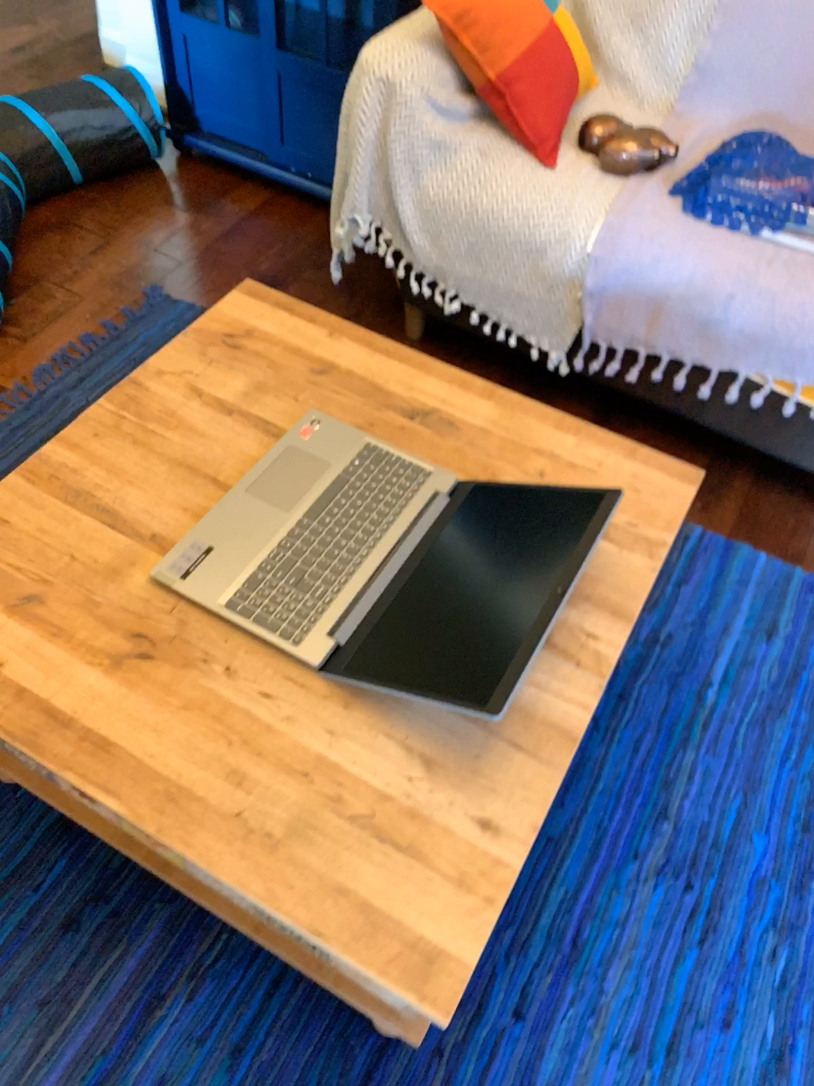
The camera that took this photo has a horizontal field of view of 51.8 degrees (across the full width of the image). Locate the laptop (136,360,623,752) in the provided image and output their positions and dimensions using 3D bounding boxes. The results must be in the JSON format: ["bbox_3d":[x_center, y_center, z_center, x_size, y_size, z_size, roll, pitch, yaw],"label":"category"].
[{"bbox_3d":[-0.028,-0.015,1.020,0.461,0.099,0.347,25,53,18],"label":"laptop"}]
